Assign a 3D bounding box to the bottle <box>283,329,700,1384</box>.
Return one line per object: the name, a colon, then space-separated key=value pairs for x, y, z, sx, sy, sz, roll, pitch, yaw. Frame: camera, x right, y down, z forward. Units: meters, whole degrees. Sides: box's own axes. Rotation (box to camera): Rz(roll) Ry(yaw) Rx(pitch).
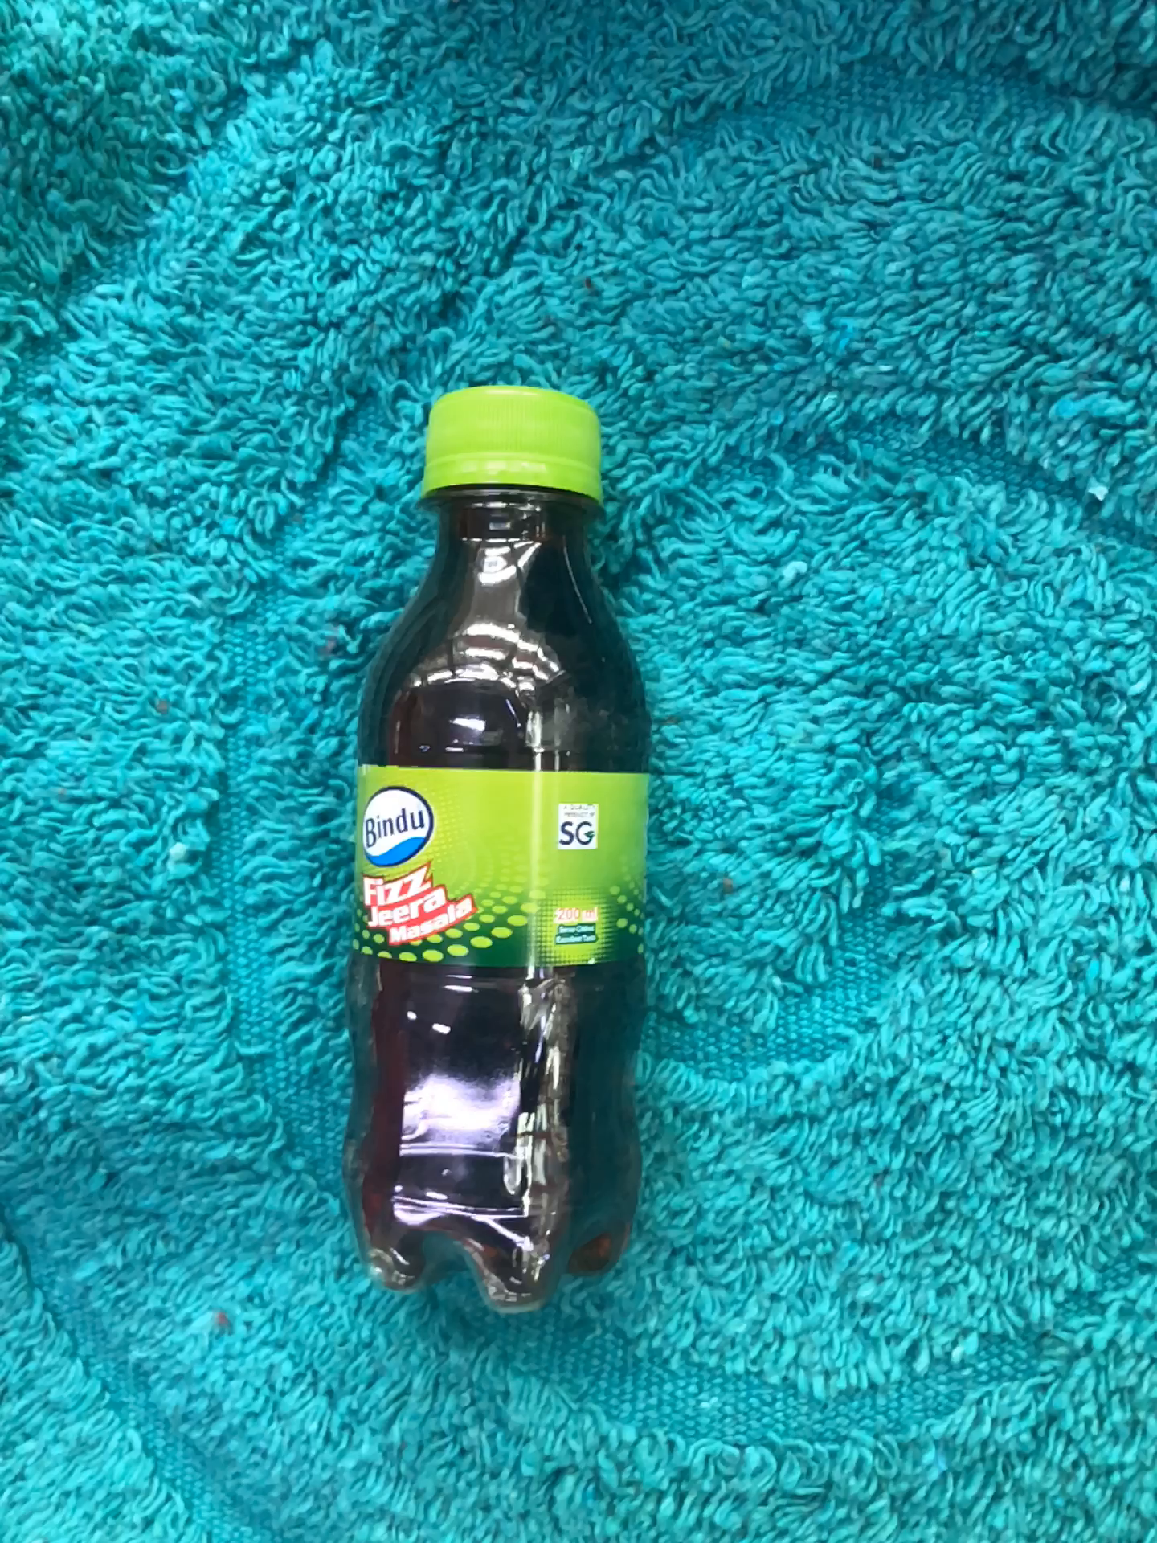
bottle: x=-0.013 y=0.012 z=0.216 sx=0.050 sy=0.050 sz=0.150 roll=2 pitch=94 yaw=25
